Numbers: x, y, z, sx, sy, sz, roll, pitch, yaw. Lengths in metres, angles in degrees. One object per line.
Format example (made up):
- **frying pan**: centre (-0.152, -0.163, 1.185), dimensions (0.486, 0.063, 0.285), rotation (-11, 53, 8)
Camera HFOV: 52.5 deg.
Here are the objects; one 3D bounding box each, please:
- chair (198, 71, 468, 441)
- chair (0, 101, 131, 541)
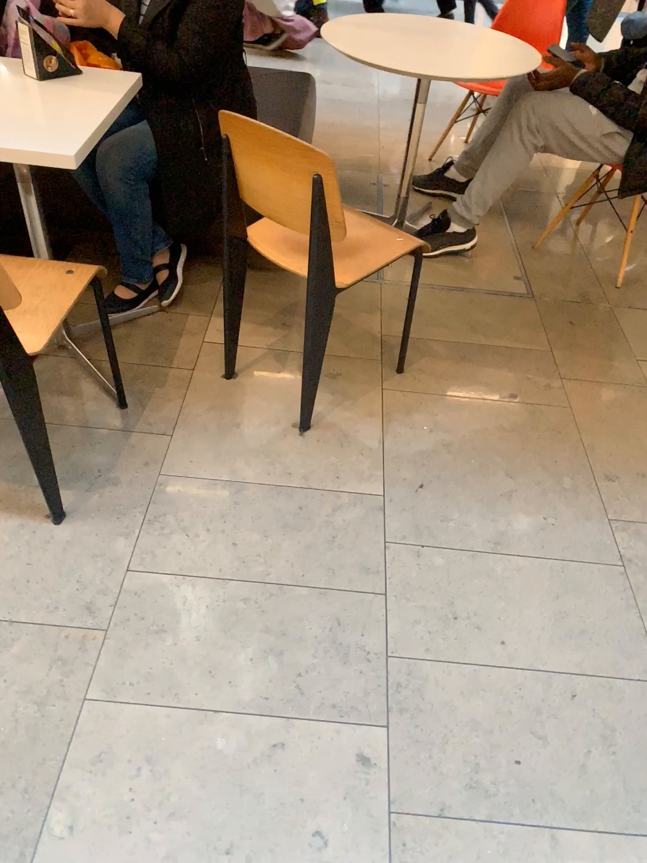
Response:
- **chair**: centre (0.001, -0.476, 1.803), dimensions (0.419, 0.767, 0.497), rotation (33, 49, 26)
- **chair**: centre (-0.750, -0.217, 1.449), dimensions (0.427, 0.767, 0.499), rotation (6, 43, -1)
